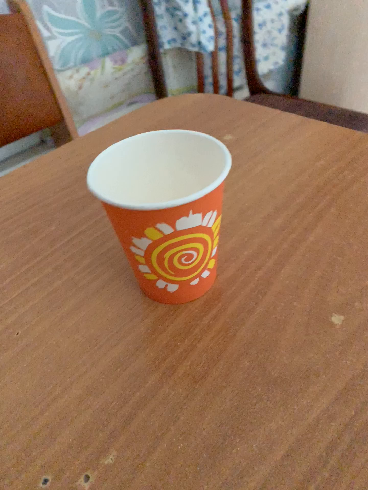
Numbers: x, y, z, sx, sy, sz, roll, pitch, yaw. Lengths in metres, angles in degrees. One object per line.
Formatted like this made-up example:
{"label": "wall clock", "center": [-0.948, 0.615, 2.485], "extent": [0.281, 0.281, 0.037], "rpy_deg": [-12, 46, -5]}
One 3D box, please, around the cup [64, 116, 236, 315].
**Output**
{"label": "cup", "center": [-0.011, -0.019, 0.246], "extent": [0.084, 0.087, 0.089], "rpy_deg": [-4, 43, 4]}
